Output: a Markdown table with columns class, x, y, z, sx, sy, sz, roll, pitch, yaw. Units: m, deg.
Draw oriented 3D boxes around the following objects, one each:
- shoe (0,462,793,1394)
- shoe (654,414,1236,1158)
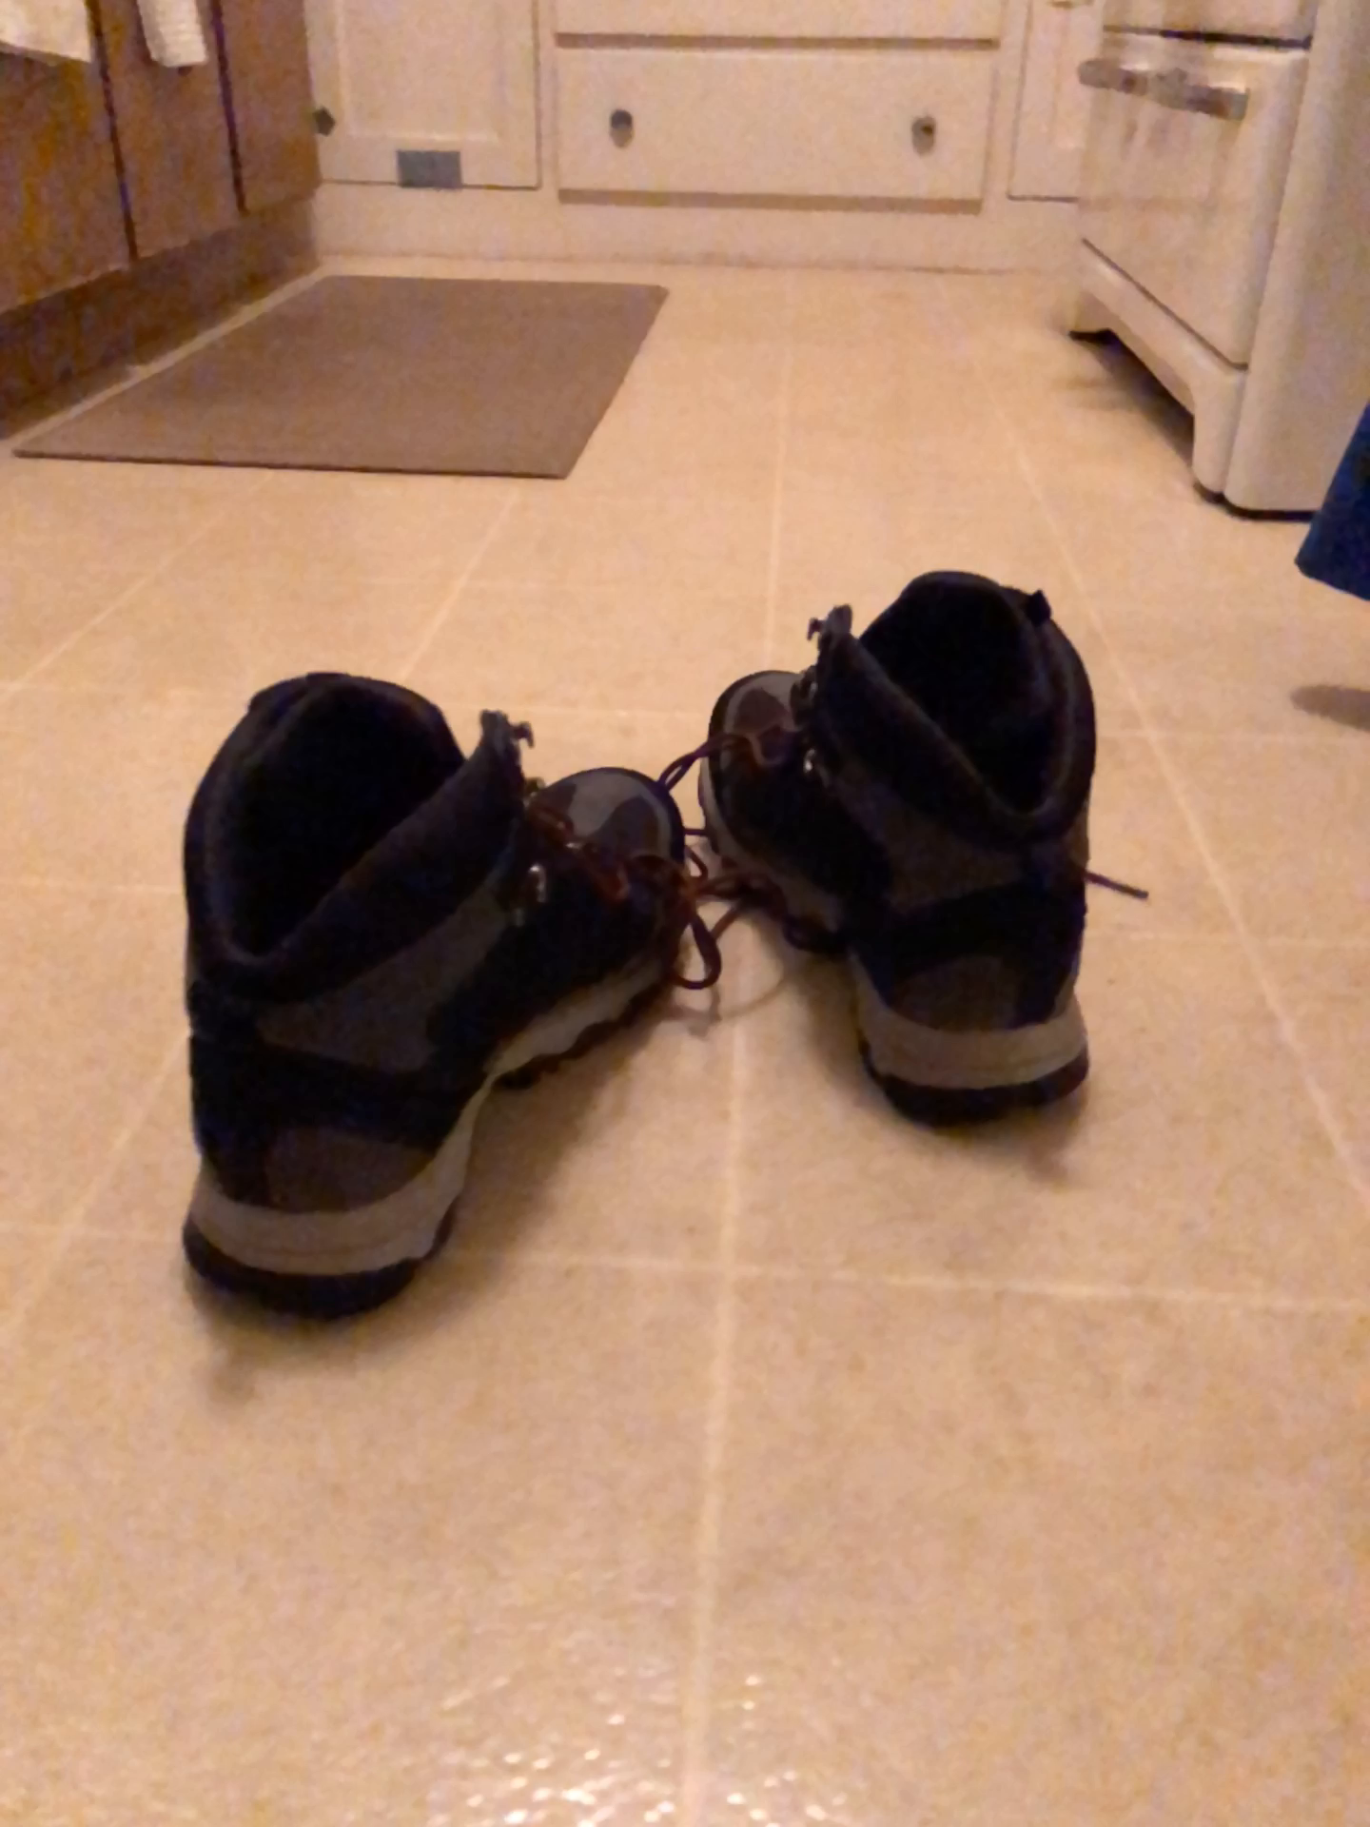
| class | x | y | z | sx | sy | sz | roll | pitch | yaw |
| --- | --- | --- | --- | --- | --- | --- | --- | --- | --- |
| shoe | -0.082 | -0.024 | 0.551 | 0.126 | 0.195 | 0.311 | 15 | 34 | 22 |
| shoe | 0.080 | -0.076 | 0.642 | 0.116 | 0.195 | 0.301 | -7 | 32 | -13 |
